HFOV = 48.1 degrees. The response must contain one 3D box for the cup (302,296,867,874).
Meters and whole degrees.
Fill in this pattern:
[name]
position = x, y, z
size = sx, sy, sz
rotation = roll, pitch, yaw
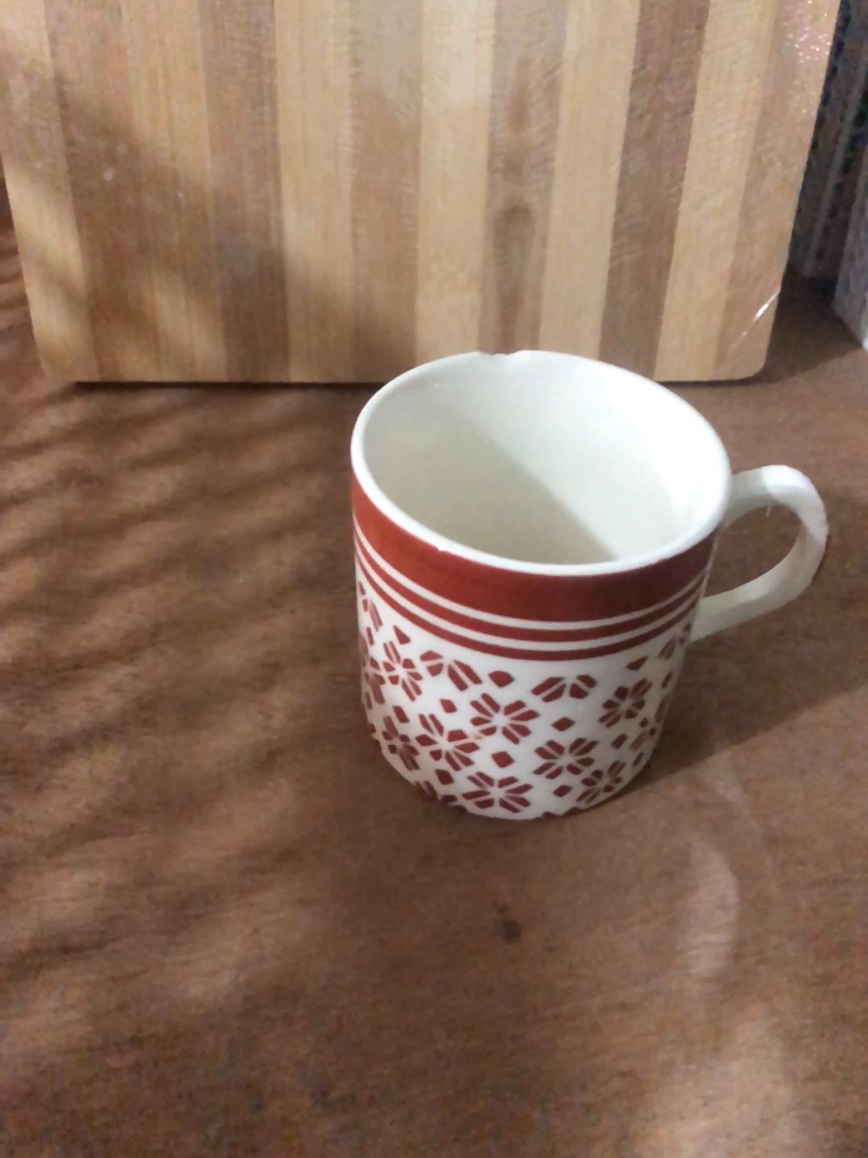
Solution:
[cup]
position = 0.027, -0.001, 0.187
size = 0.090, 0.070, 0.070
rotation = -8, 45, -11
